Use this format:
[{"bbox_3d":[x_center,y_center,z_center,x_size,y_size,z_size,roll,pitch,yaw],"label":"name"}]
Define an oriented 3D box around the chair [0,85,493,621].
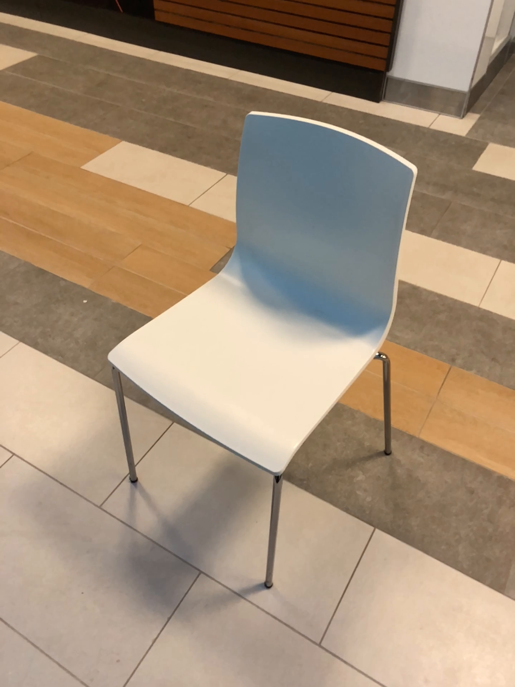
[{"bbox_3d":[-0.009,0.020,1.163,0.581,0.775,0.552,27,51,24],"label":"chair"}]
